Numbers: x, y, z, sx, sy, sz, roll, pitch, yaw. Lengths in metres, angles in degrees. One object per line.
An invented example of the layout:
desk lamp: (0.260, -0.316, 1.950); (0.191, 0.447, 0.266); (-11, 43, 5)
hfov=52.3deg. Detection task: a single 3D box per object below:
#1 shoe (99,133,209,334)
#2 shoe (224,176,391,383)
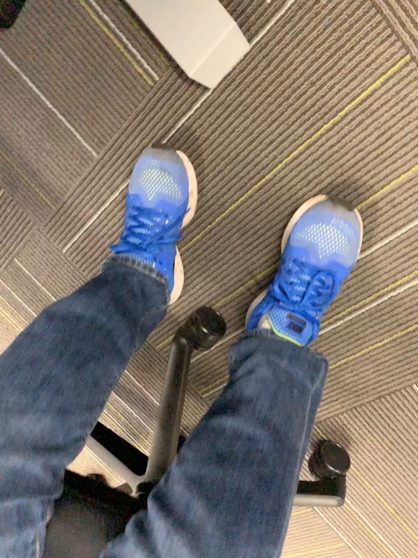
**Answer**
shoe: (-0.093, -0.065, 0.665); (0.116, 0.083, 0.280); (18, 122, 10)
shoe: (0.135, 0.009, 0.630); (0.117, 0.083, 0.280); (26, 123, 5)
